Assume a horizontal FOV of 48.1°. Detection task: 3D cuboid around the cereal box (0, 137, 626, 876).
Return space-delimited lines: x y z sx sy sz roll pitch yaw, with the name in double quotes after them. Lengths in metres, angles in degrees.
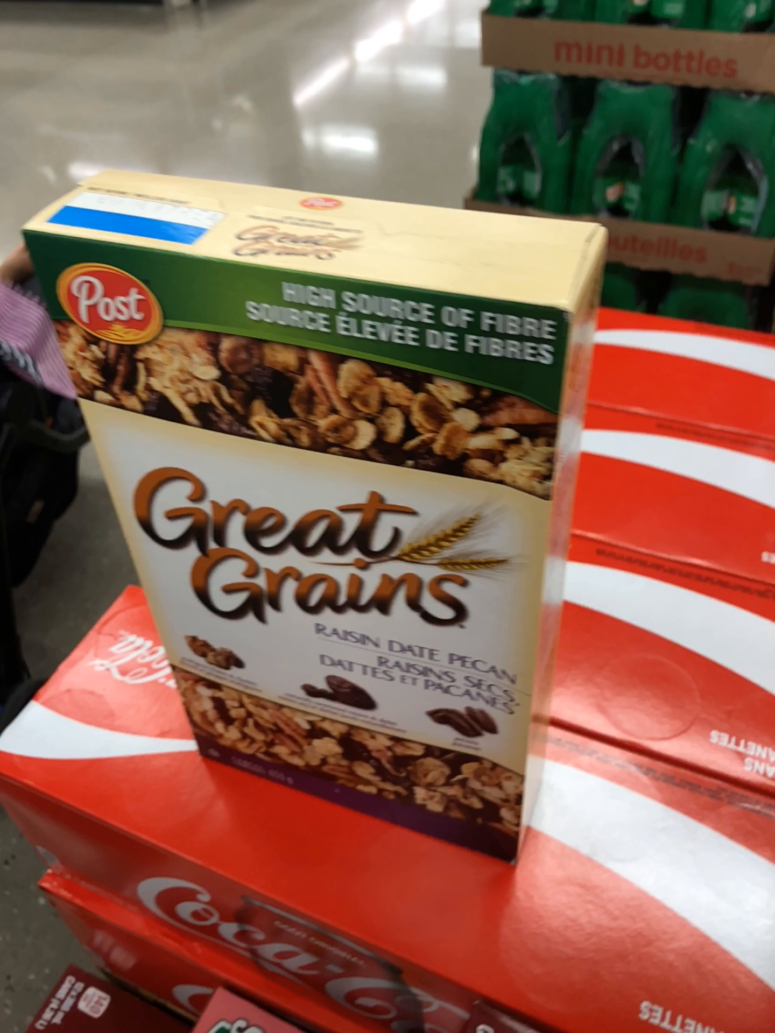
-0.020 0.015 0.316 0.170 0.269 0.050 13 45 20 "cereal box"
